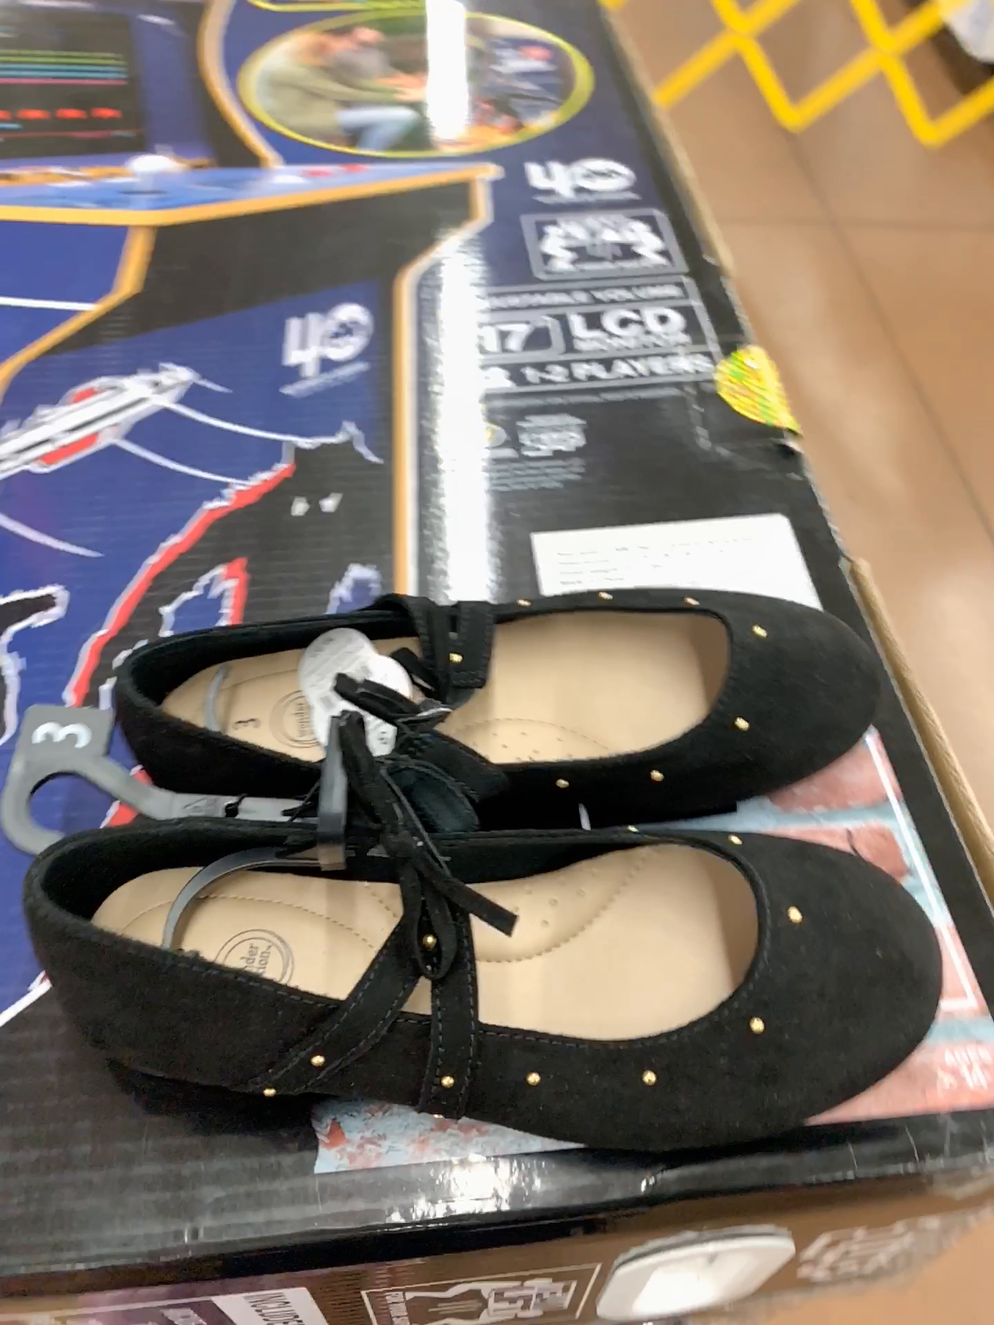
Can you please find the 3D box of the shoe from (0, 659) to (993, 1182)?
[{"bbox_3d":[0.005,0.067,0.268,0.240,0.070,0.090,5,51,0],"label":"shoe"}]

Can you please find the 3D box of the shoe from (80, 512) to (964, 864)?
[{"bbox_3d":[0.007,0.007,0.345,0.250,0.070,0.090,-1,51,-5],"label":"shoe"}]
